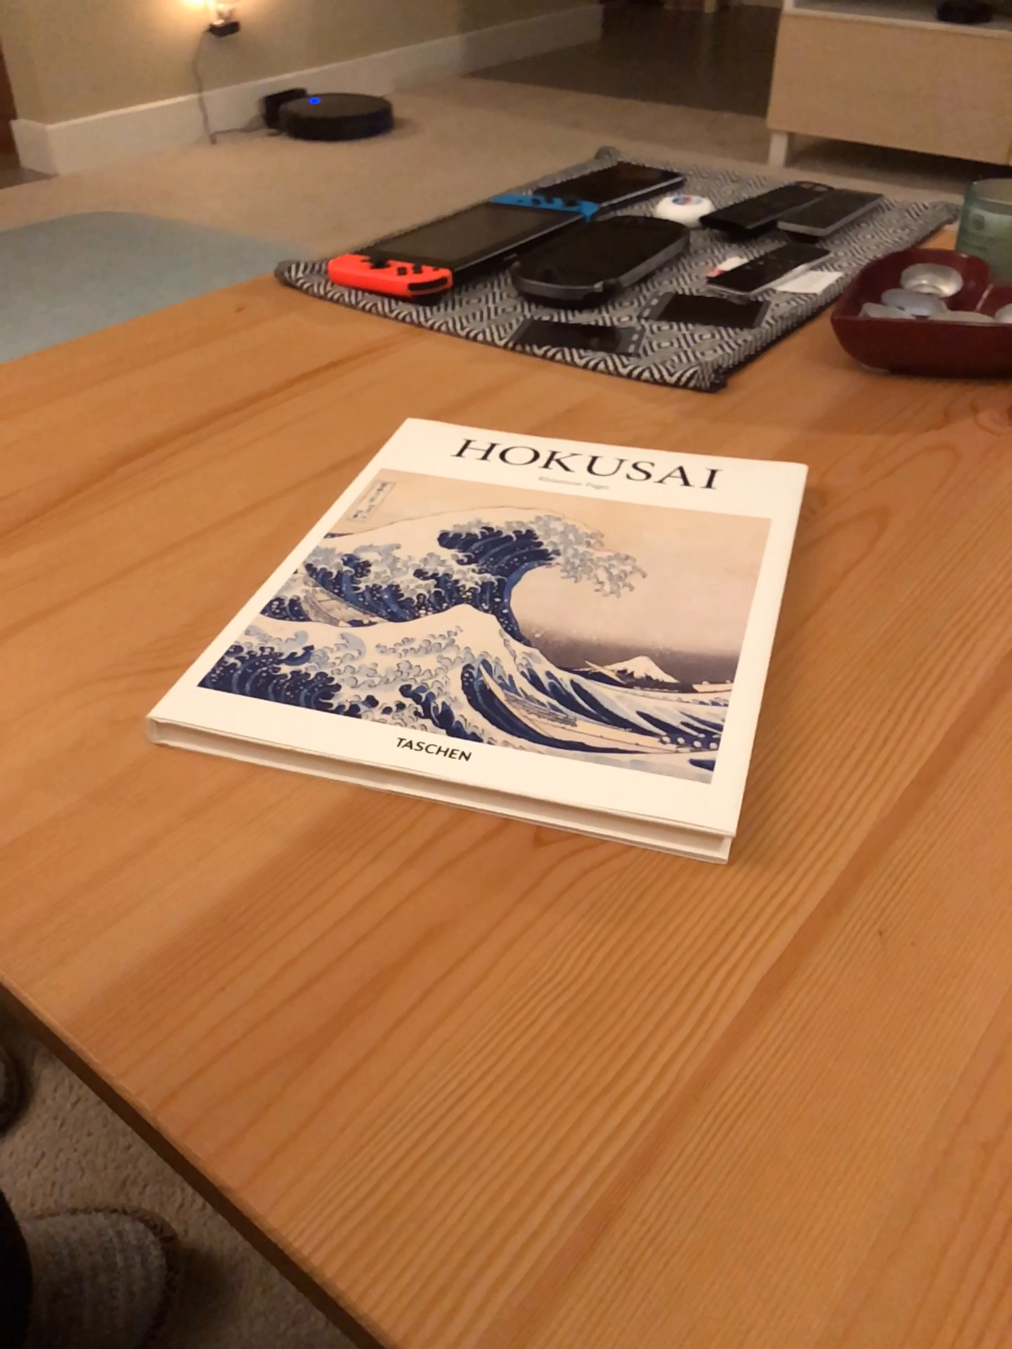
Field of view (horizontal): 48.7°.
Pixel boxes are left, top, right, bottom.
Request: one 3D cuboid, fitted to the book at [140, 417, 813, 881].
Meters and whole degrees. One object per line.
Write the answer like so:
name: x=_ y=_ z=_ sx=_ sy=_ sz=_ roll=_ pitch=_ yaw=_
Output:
book: x=0.009 y=-0.034 z=0.470 sx=0.210 sy=0.020 sz=0.253 roll=10 pitch=39 yaw=14
